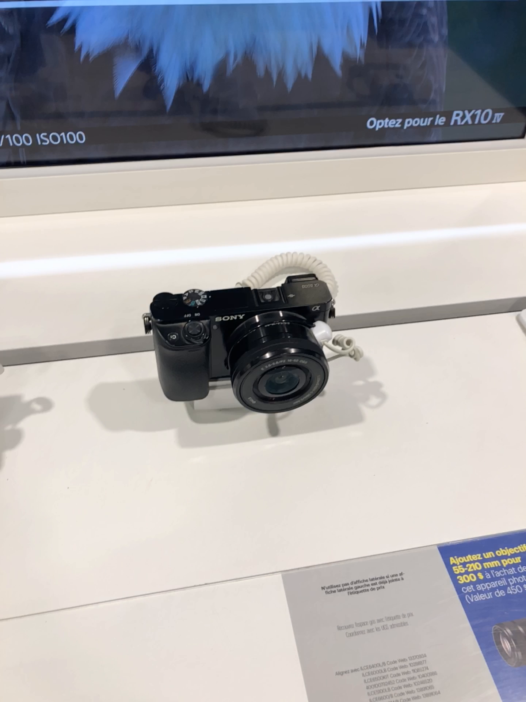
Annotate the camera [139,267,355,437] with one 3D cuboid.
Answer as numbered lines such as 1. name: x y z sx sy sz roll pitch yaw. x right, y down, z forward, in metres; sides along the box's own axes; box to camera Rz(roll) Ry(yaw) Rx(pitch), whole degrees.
1. camera: -0.013 0.000 0.404 0.130 0.077 0.065 -8 46 -9
